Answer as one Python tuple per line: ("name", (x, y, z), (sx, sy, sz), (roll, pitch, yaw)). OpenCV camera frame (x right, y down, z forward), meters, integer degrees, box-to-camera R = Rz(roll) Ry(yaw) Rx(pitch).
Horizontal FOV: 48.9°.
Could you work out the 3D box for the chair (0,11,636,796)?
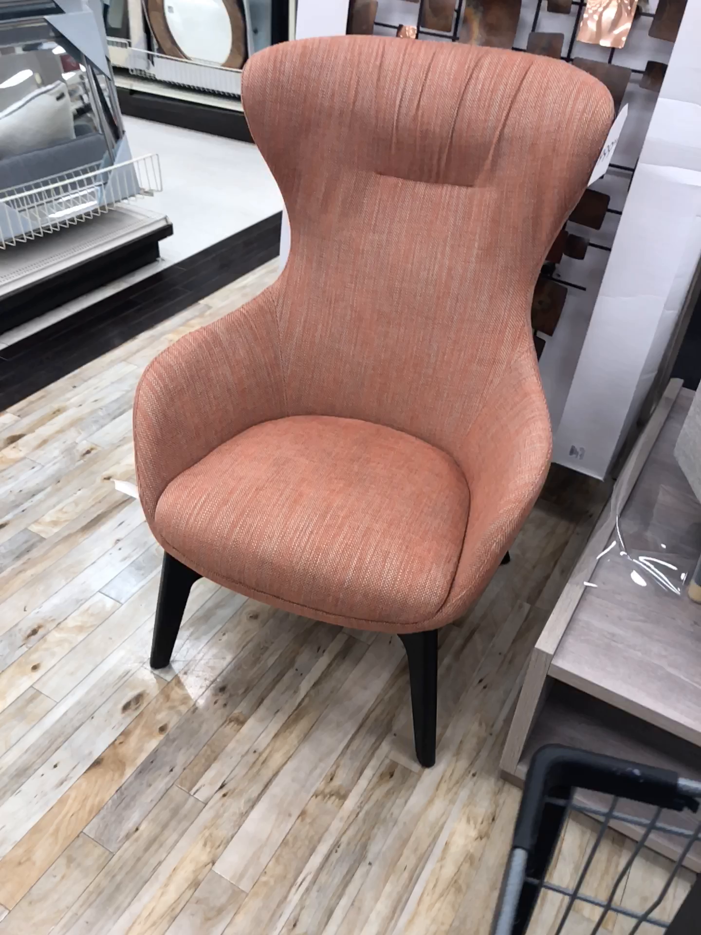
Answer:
("chair", (-0.004, -0.145, 1.404), (0.690, 1.066, 0.753), (15, 38, 15))
